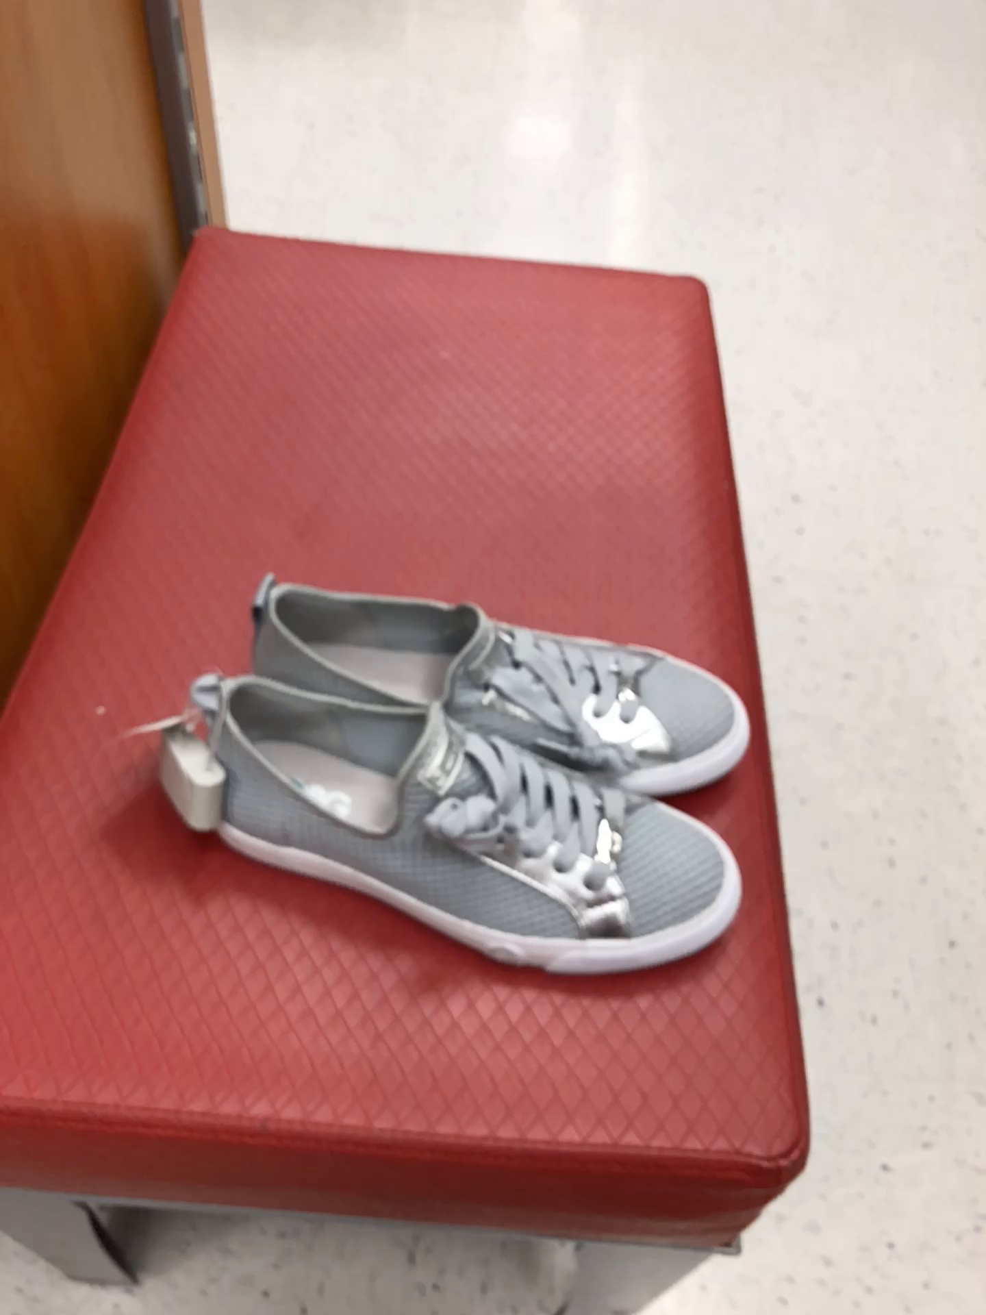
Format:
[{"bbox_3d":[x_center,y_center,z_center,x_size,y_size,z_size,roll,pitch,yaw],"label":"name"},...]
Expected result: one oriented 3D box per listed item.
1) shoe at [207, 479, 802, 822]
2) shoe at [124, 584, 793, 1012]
[{"bbox_3d":[0.007,-0.003,0.563,0.268,0.095,0.106,7,51,1],"label":"shoe"},{"bbox_3d":[-0.011,0.063,0.507,0.268,0.096,0.106,12,51,5],"label":"shoe"}]
